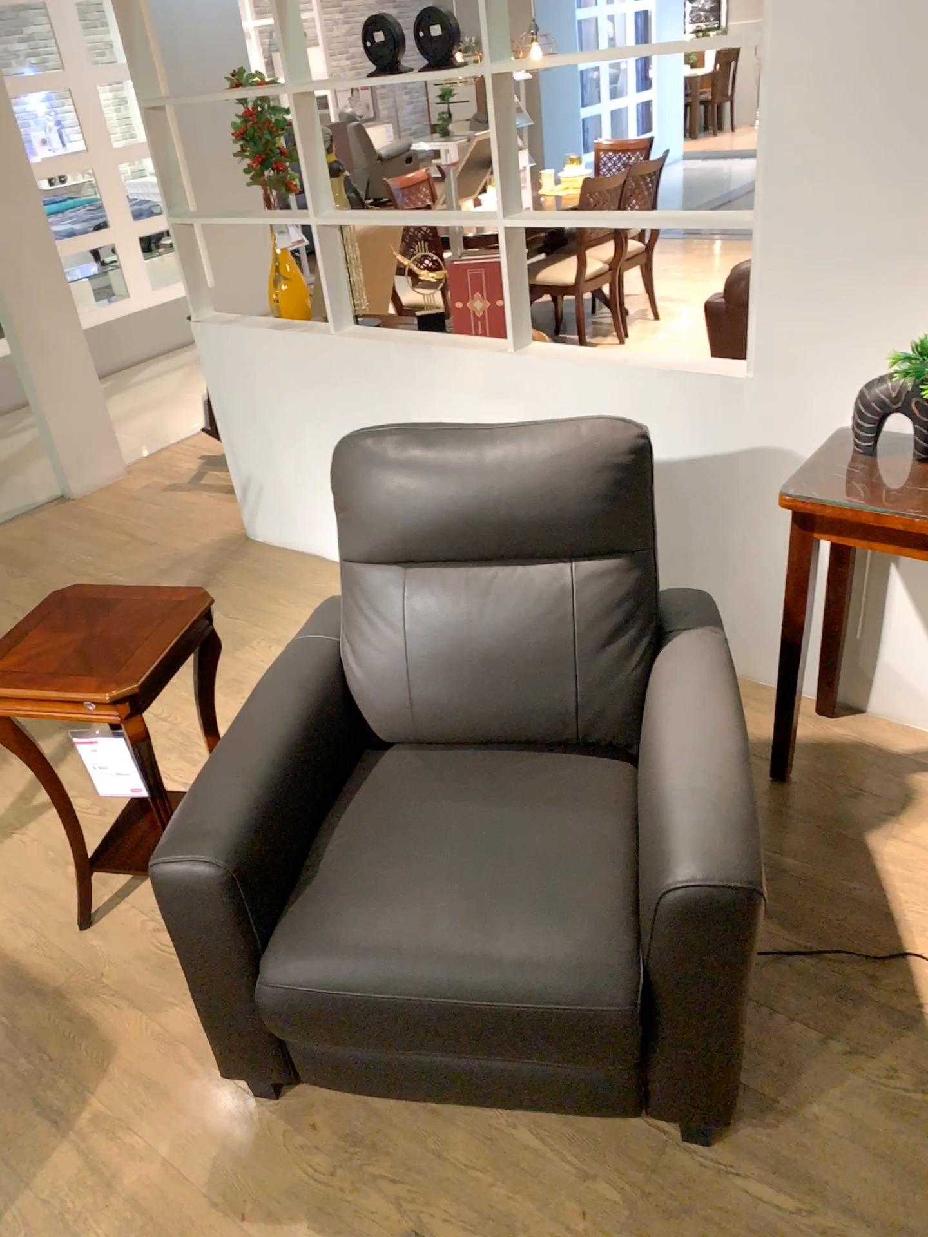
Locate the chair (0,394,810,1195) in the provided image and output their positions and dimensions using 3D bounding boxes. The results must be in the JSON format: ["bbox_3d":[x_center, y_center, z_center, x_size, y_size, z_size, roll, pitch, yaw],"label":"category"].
[{"bbox_3d":[0.013,0.234,1.664,0.940,0.926,0.923,0,32,11],"label":"chair"}]
